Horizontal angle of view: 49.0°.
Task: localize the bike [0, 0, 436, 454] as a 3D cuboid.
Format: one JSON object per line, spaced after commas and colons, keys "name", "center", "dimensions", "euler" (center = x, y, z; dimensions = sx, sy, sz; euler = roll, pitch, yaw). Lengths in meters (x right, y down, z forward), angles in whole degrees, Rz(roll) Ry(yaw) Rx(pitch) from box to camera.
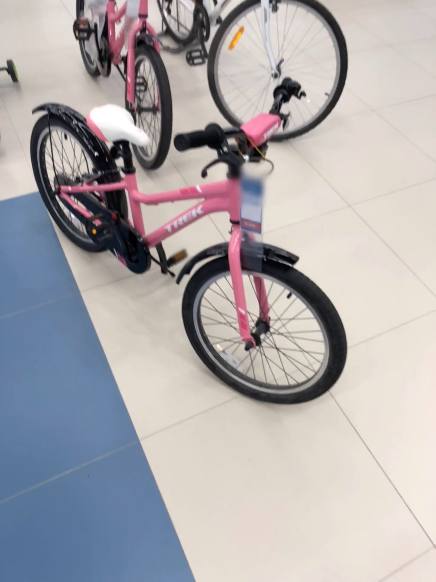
{"name": "bike", "center": [-0.127, -0.316, 1.329], "dimensions": [1.298, 0.835, 0.557], "euler": [32, 54, 27]}
